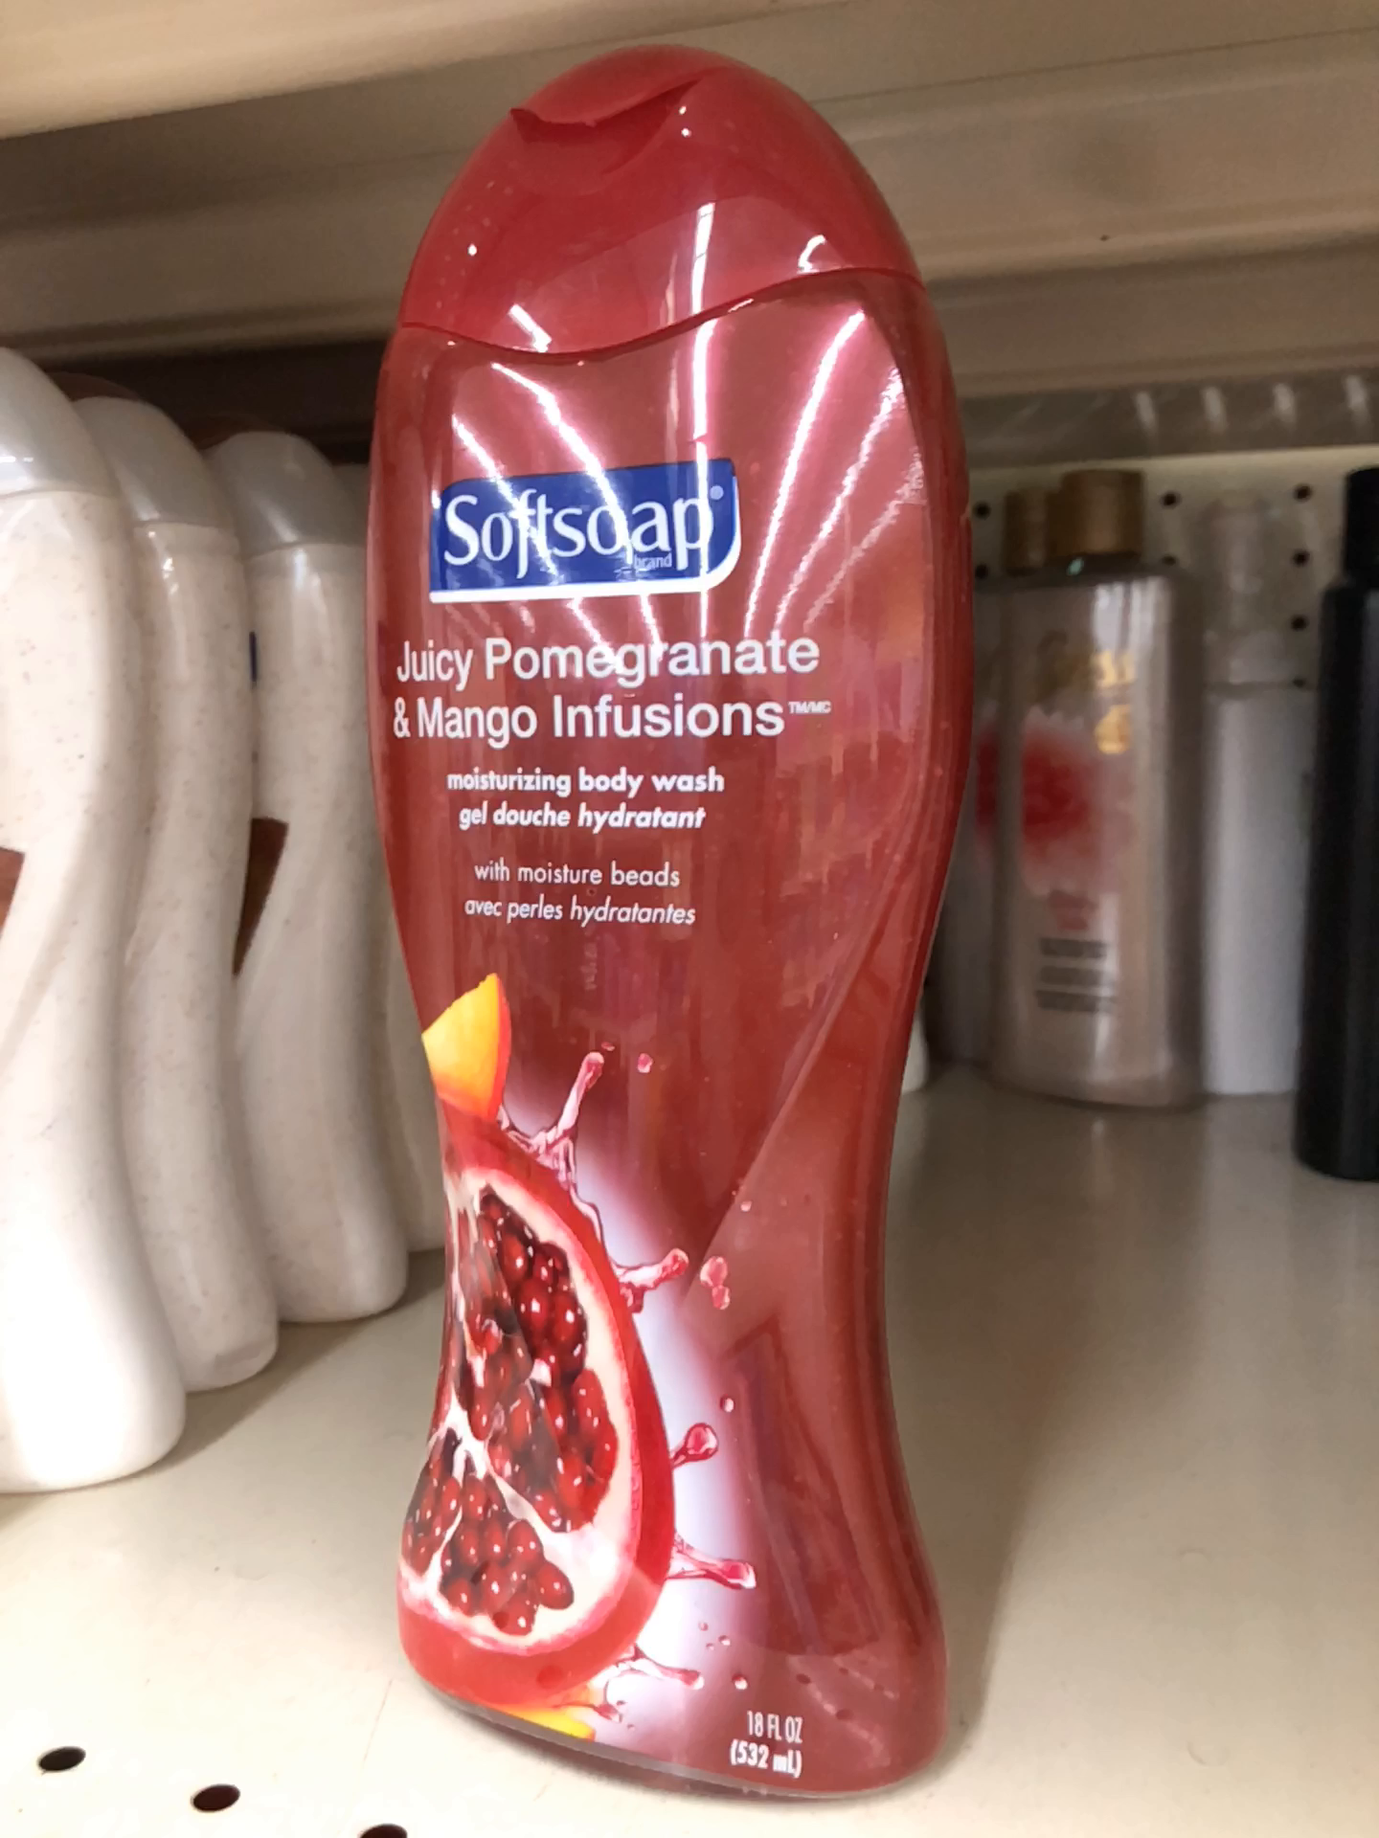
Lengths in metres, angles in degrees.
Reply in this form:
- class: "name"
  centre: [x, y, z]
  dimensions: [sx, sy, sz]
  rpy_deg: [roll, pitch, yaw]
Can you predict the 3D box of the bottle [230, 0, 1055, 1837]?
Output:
- class: "bottle"
  centre: [-0.003, 0.002, 0.220]
  dimensions: [0.090, 0.230, 0.060]
  rpy_deg: [4, 10, 30]
